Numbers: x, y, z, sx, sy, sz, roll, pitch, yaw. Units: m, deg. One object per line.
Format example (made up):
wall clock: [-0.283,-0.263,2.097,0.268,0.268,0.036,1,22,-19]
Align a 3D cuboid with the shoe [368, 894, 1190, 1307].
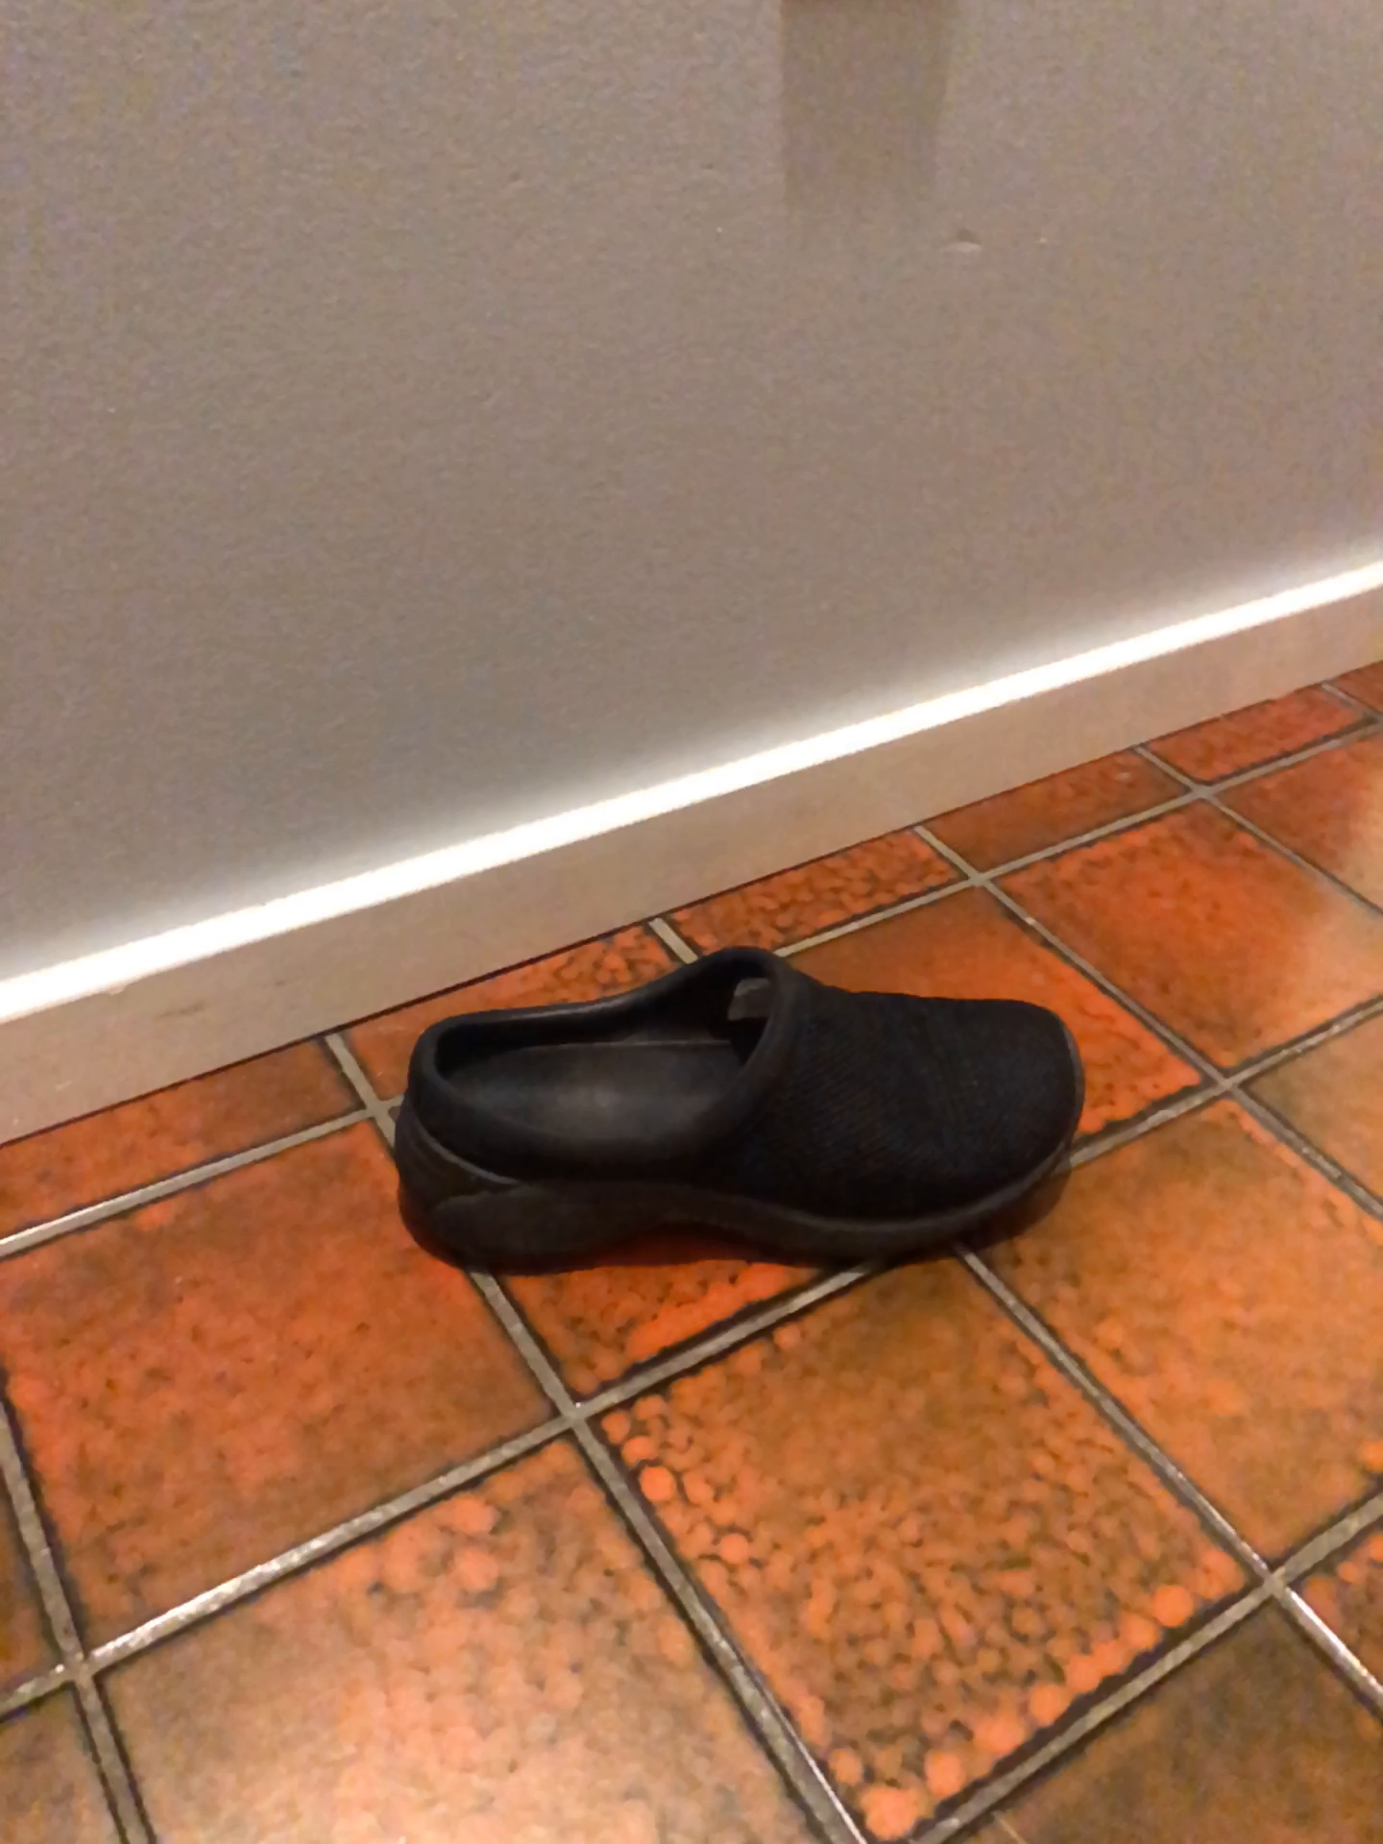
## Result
shoe: [0.021,0.056,0.515,0.250,0.080,0.100,-2,40,-9]
